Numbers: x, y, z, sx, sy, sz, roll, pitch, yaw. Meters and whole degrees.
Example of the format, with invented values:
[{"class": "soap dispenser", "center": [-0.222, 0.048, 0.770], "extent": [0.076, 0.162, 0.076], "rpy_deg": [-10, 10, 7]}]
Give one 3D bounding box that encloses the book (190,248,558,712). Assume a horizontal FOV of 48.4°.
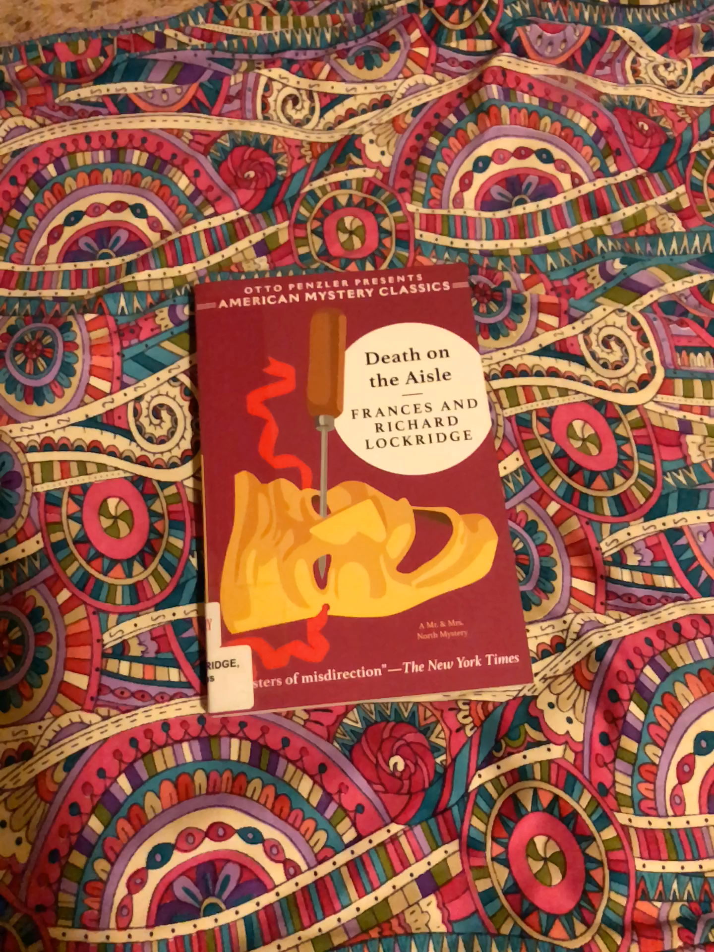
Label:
[{"class": "book", "center": [0.001, -0.005, 0.349], "extent": [0.137, 0.024, 0.196], "rpy_deg": [-5, 72, -4]}]
